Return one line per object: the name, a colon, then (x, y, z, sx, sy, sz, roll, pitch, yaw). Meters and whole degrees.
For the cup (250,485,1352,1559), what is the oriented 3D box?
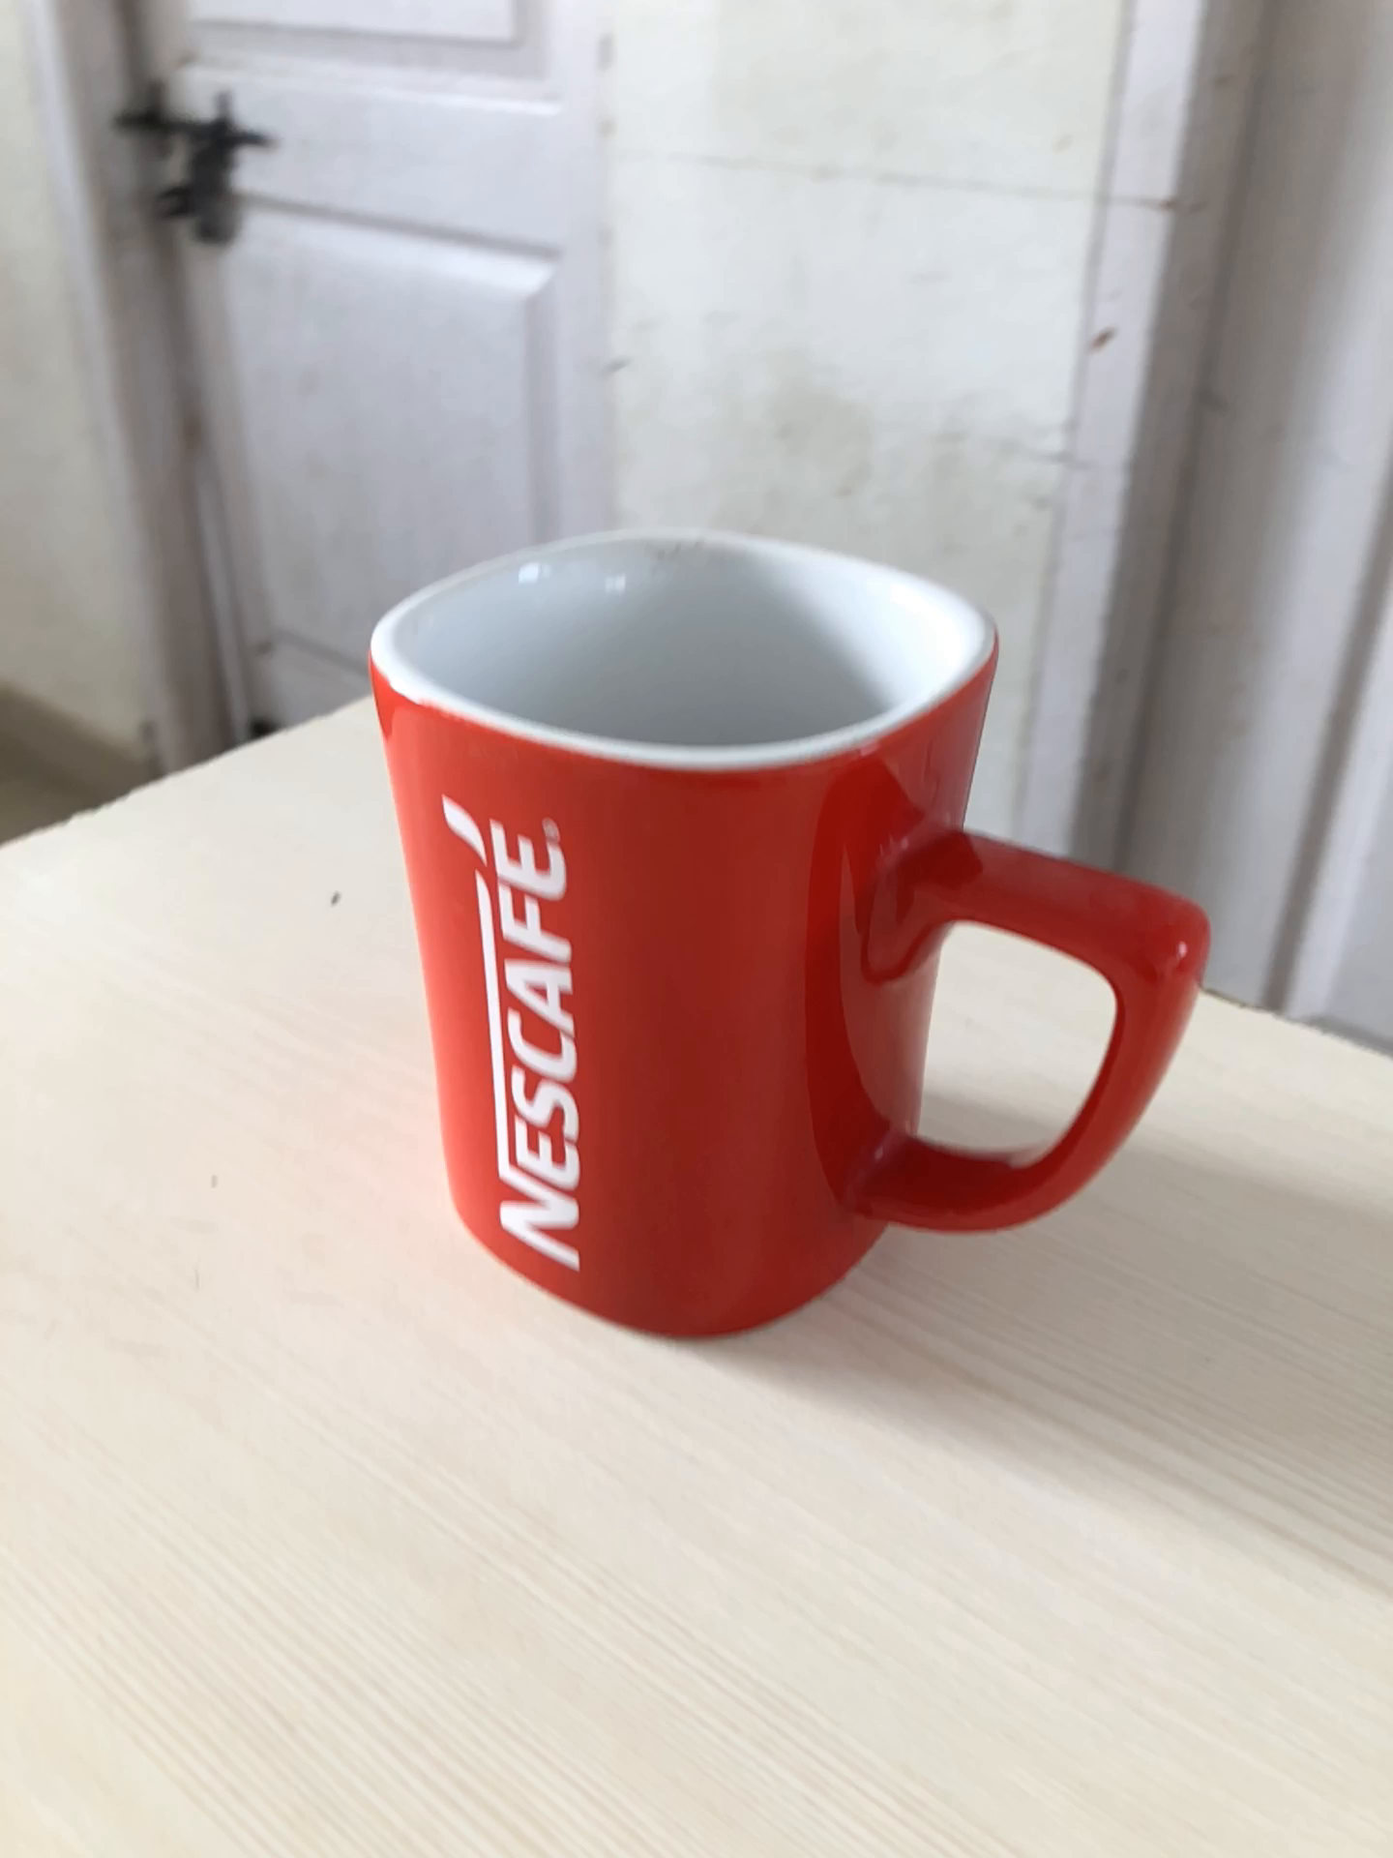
cup: (0.013, 0.002, 0.215, 0.110, 0.089, 0.080, 20, 36, 29)
